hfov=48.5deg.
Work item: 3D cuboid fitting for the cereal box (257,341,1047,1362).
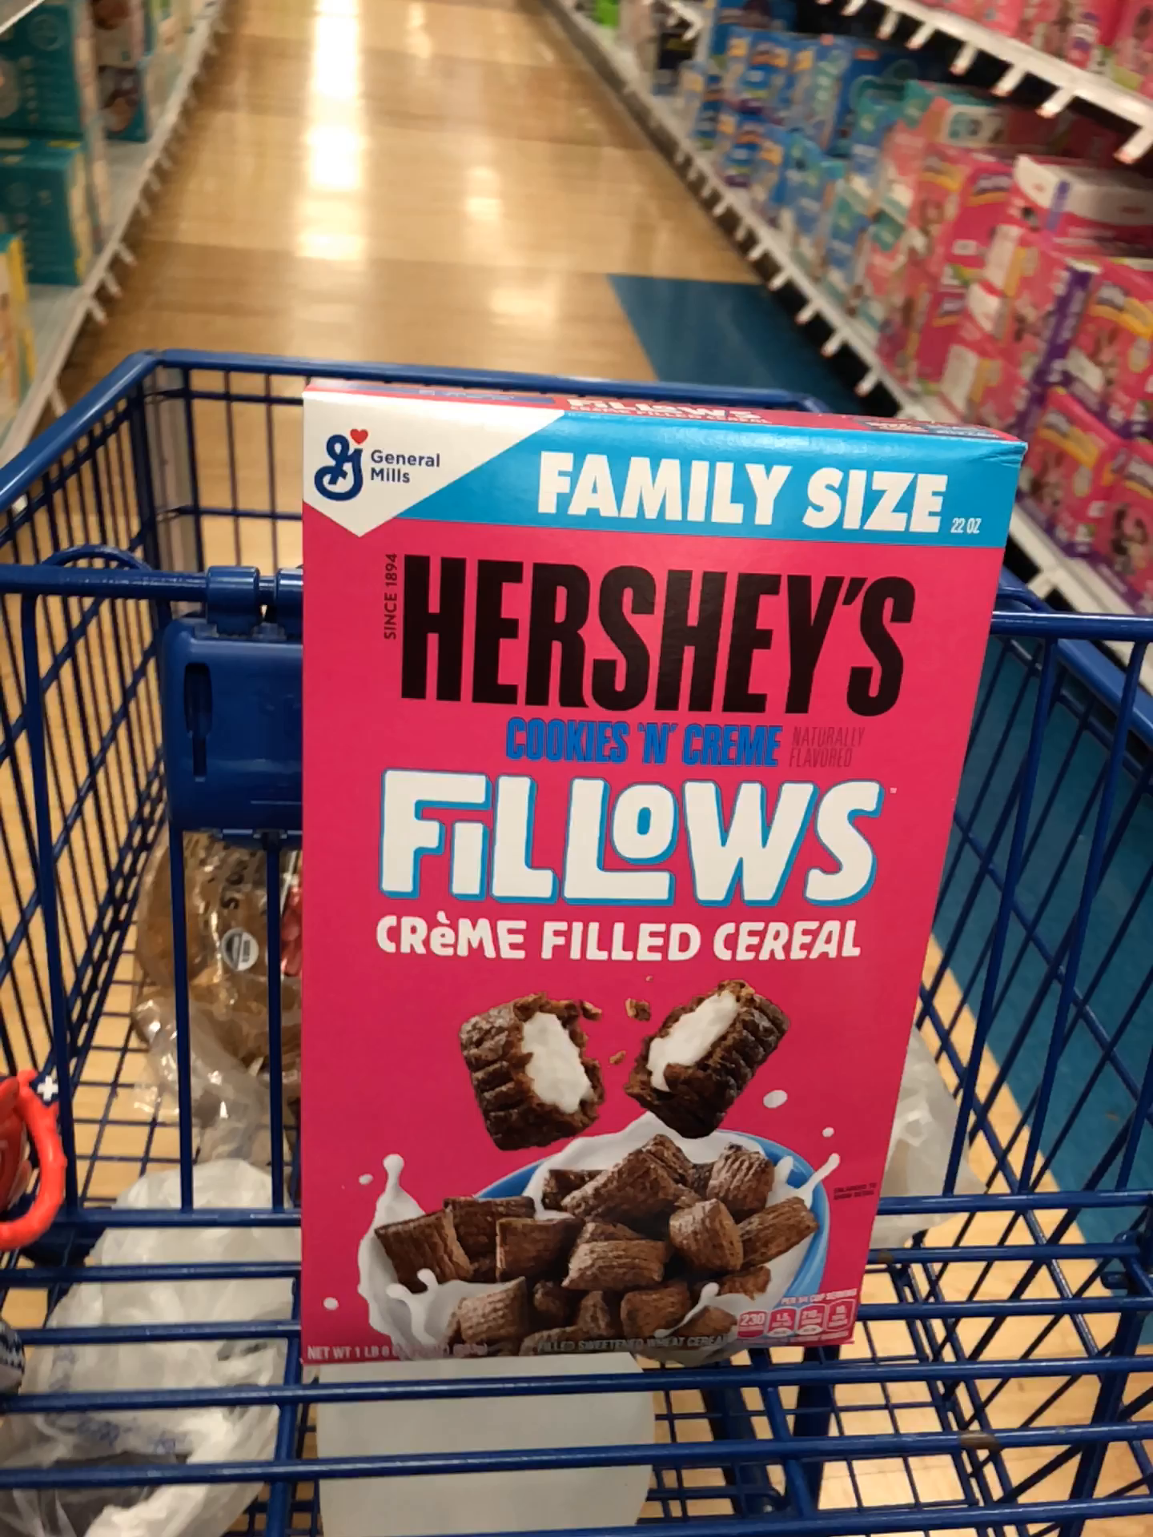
[{"bbox_3d":[0.008,0.035,0.392,0.200,0.300,0.060,2,18,-8],"label":"cereal box"}]
